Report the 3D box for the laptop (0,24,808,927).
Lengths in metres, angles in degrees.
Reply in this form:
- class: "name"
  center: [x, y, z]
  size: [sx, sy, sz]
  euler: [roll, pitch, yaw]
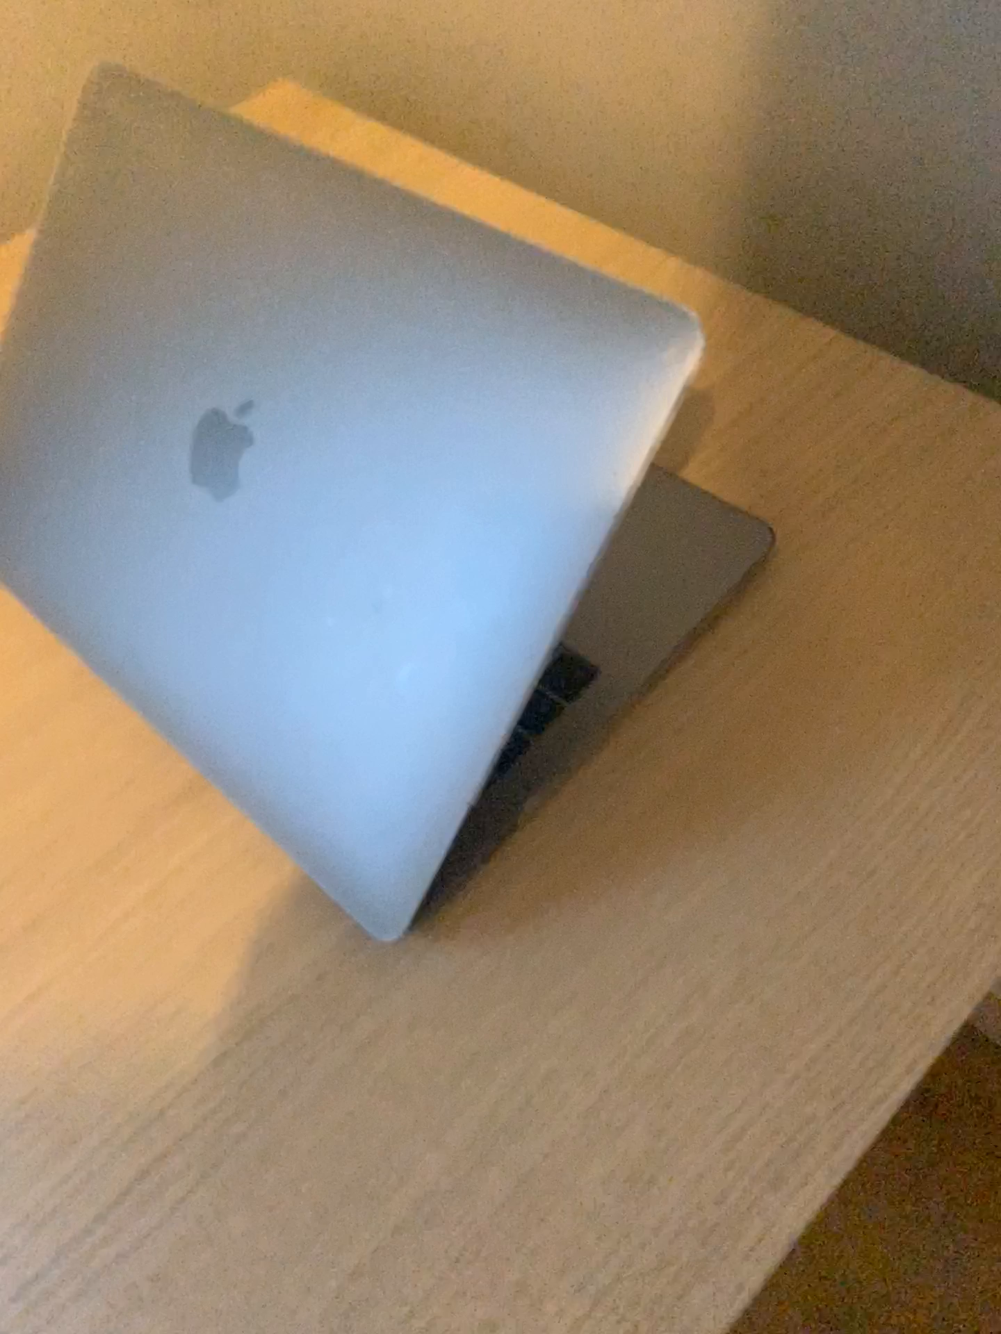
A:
- class: "laptop"
  center: [-0.082, -0.098, 0.383]
  size: [0.310, 0.127, 0.207]
  euler: [34, 66, 28]
